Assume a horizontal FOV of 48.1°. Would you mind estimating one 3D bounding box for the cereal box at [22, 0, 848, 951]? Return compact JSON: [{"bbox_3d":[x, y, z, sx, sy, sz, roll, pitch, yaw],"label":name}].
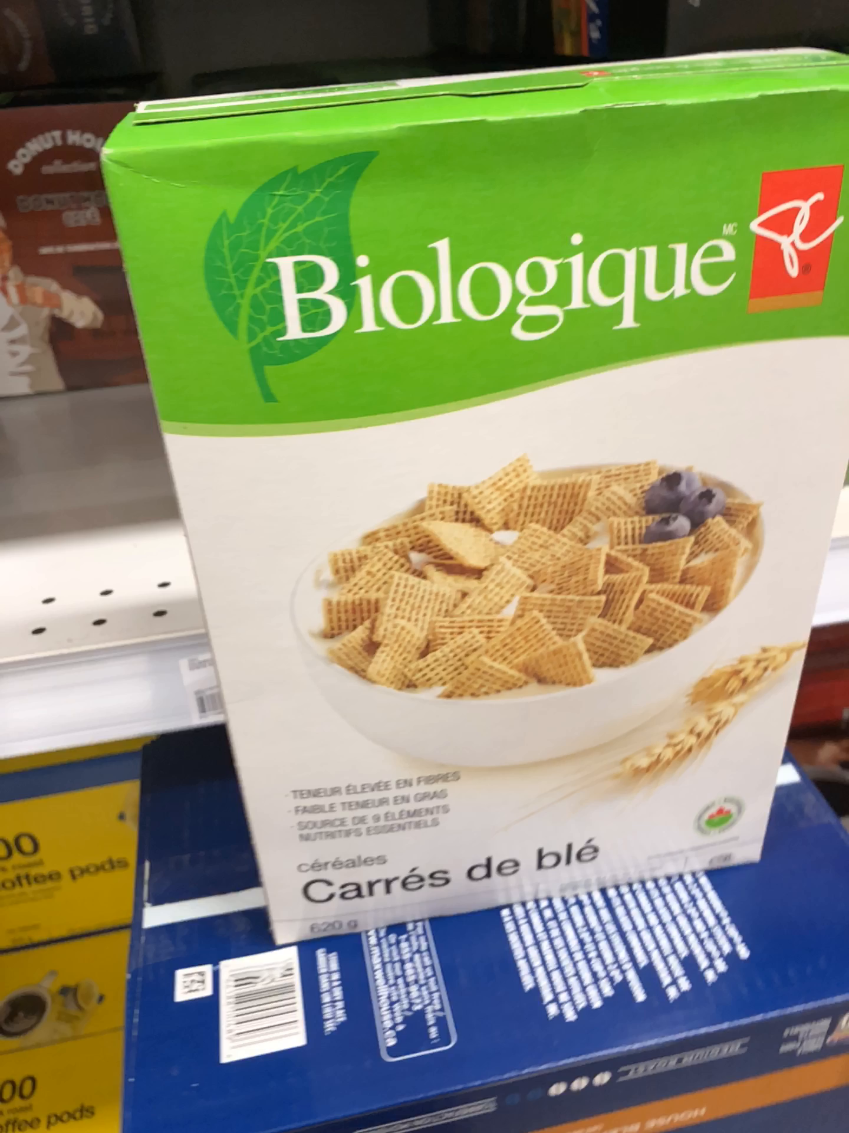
[{"bbox_3d":[0.028,-0.009,0.306,0.210,0.289,0.070,-7,35,-6],"label":"cereal box"}]
